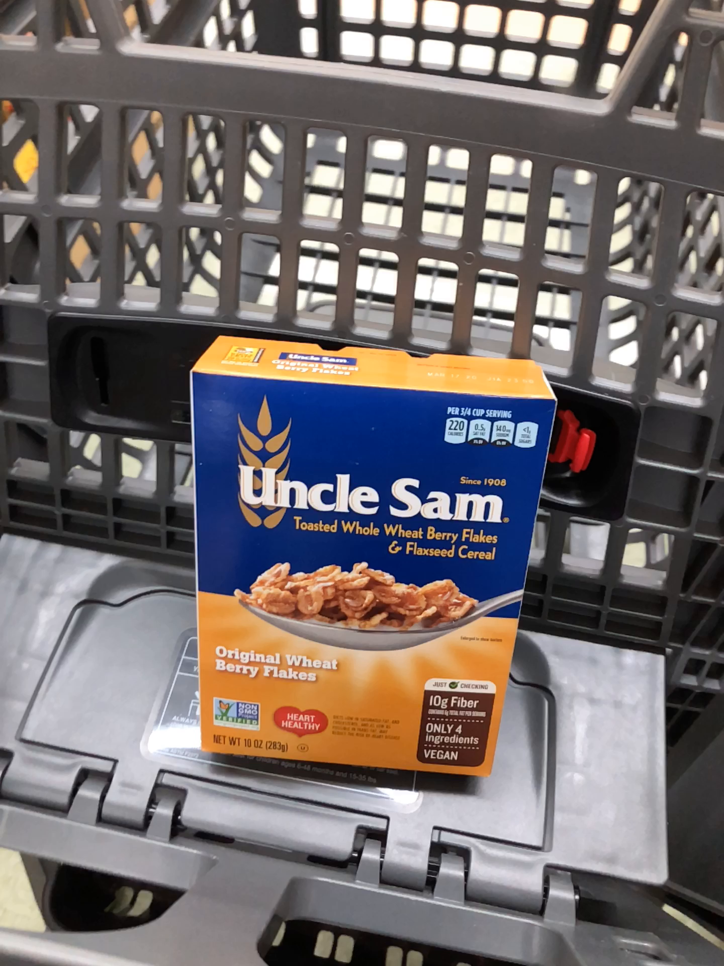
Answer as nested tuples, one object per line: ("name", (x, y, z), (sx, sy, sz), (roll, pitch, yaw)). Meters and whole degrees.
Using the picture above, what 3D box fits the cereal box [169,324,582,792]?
("cereal box", (0.000, 0.041, 0.378), (0.160, 0.210, 0.050), (5, 26, 2))
